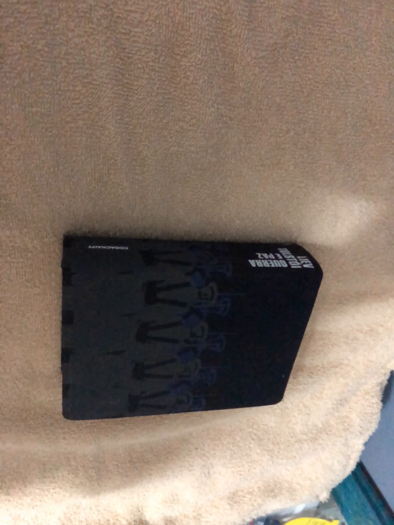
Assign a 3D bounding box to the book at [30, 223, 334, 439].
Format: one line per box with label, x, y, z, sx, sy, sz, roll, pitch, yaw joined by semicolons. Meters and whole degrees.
book;-0.016;0.050;0.318;0.190;0.050;0.141;1;119;-17
